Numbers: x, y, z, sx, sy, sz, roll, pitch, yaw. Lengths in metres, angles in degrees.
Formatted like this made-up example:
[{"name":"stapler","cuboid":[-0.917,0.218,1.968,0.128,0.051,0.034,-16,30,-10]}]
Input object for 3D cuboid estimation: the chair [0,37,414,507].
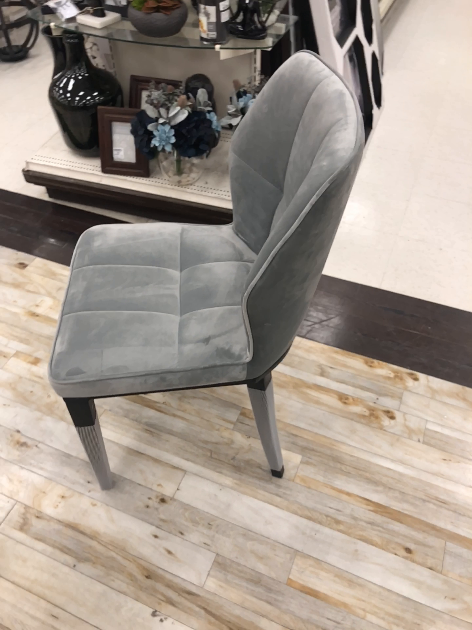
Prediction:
[{"name":"chair","cuboid":[-0.076,-0.040,1.113,0.570,0.837,0.532,-2,46,-1]}]
